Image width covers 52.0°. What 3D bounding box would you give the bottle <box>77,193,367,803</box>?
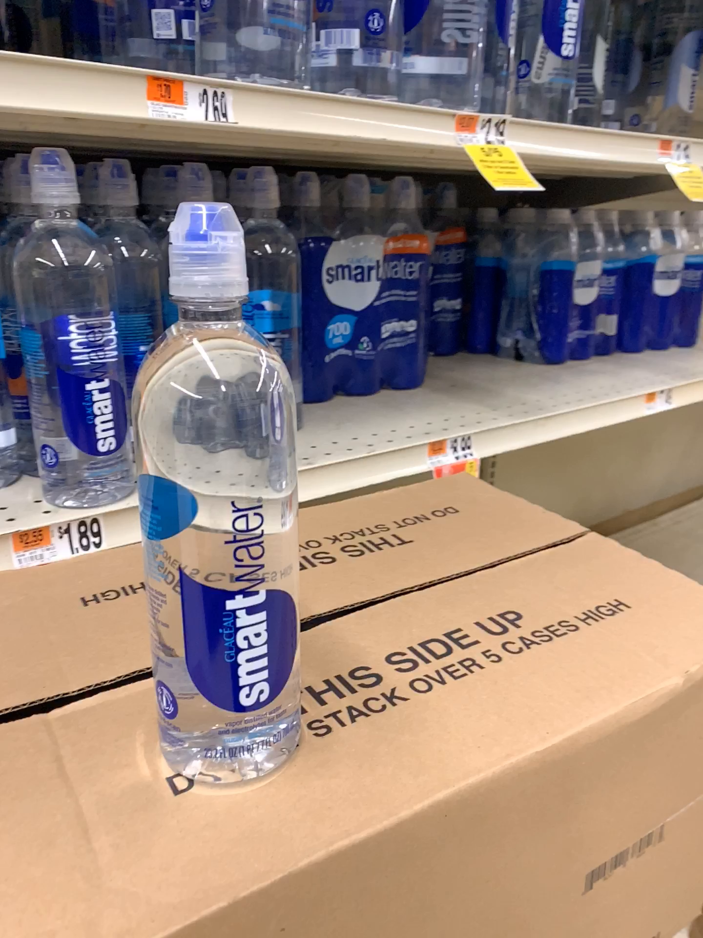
[{"bbox_3d":[-0.058,0.008,0.331,0.090,0.249,0.090,1,20,-1],"label":"bottle"}]
